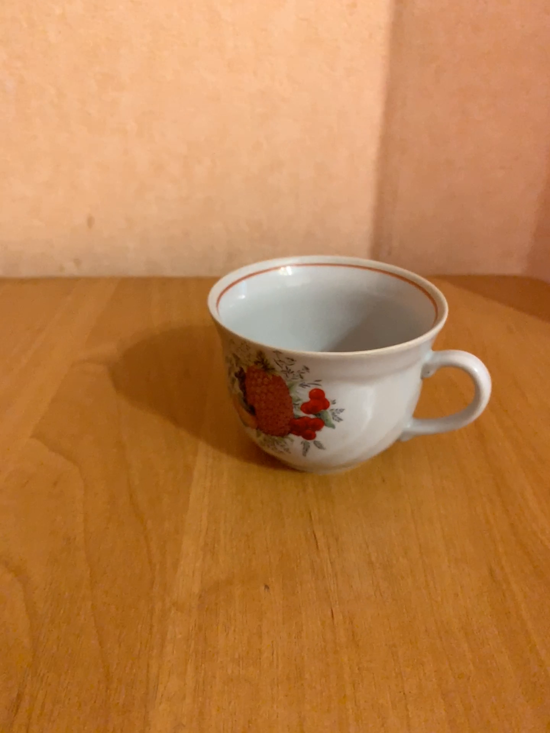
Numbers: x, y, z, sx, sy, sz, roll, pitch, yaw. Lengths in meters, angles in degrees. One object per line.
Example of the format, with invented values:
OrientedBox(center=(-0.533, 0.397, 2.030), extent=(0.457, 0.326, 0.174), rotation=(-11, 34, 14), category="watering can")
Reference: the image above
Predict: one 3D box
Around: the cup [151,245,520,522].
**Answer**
OrientedBox(center=(0.024, -0.001, 0.217), extent=(0.109, 0.056, 0.083), rotation=(7, 31, 13), category="cup")
